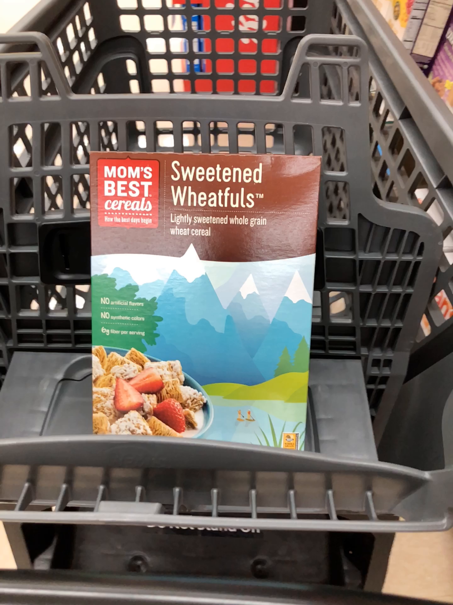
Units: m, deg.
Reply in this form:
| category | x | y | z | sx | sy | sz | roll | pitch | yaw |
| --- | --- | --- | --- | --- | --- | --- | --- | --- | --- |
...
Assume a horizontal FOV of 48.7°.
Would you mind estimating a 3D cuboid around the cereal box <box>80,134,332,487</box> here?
| category | x | y | z | sx | sy | sz | roll | pitch | yaw |
| --- | --- | --- | --- | --- | --- | --- | --- | --- | --- |
| cereal box | -0.020 | 0.006 | 0.458 | 0.200 | 0.290 | 0.080 | 3 | 9 | 3 |
